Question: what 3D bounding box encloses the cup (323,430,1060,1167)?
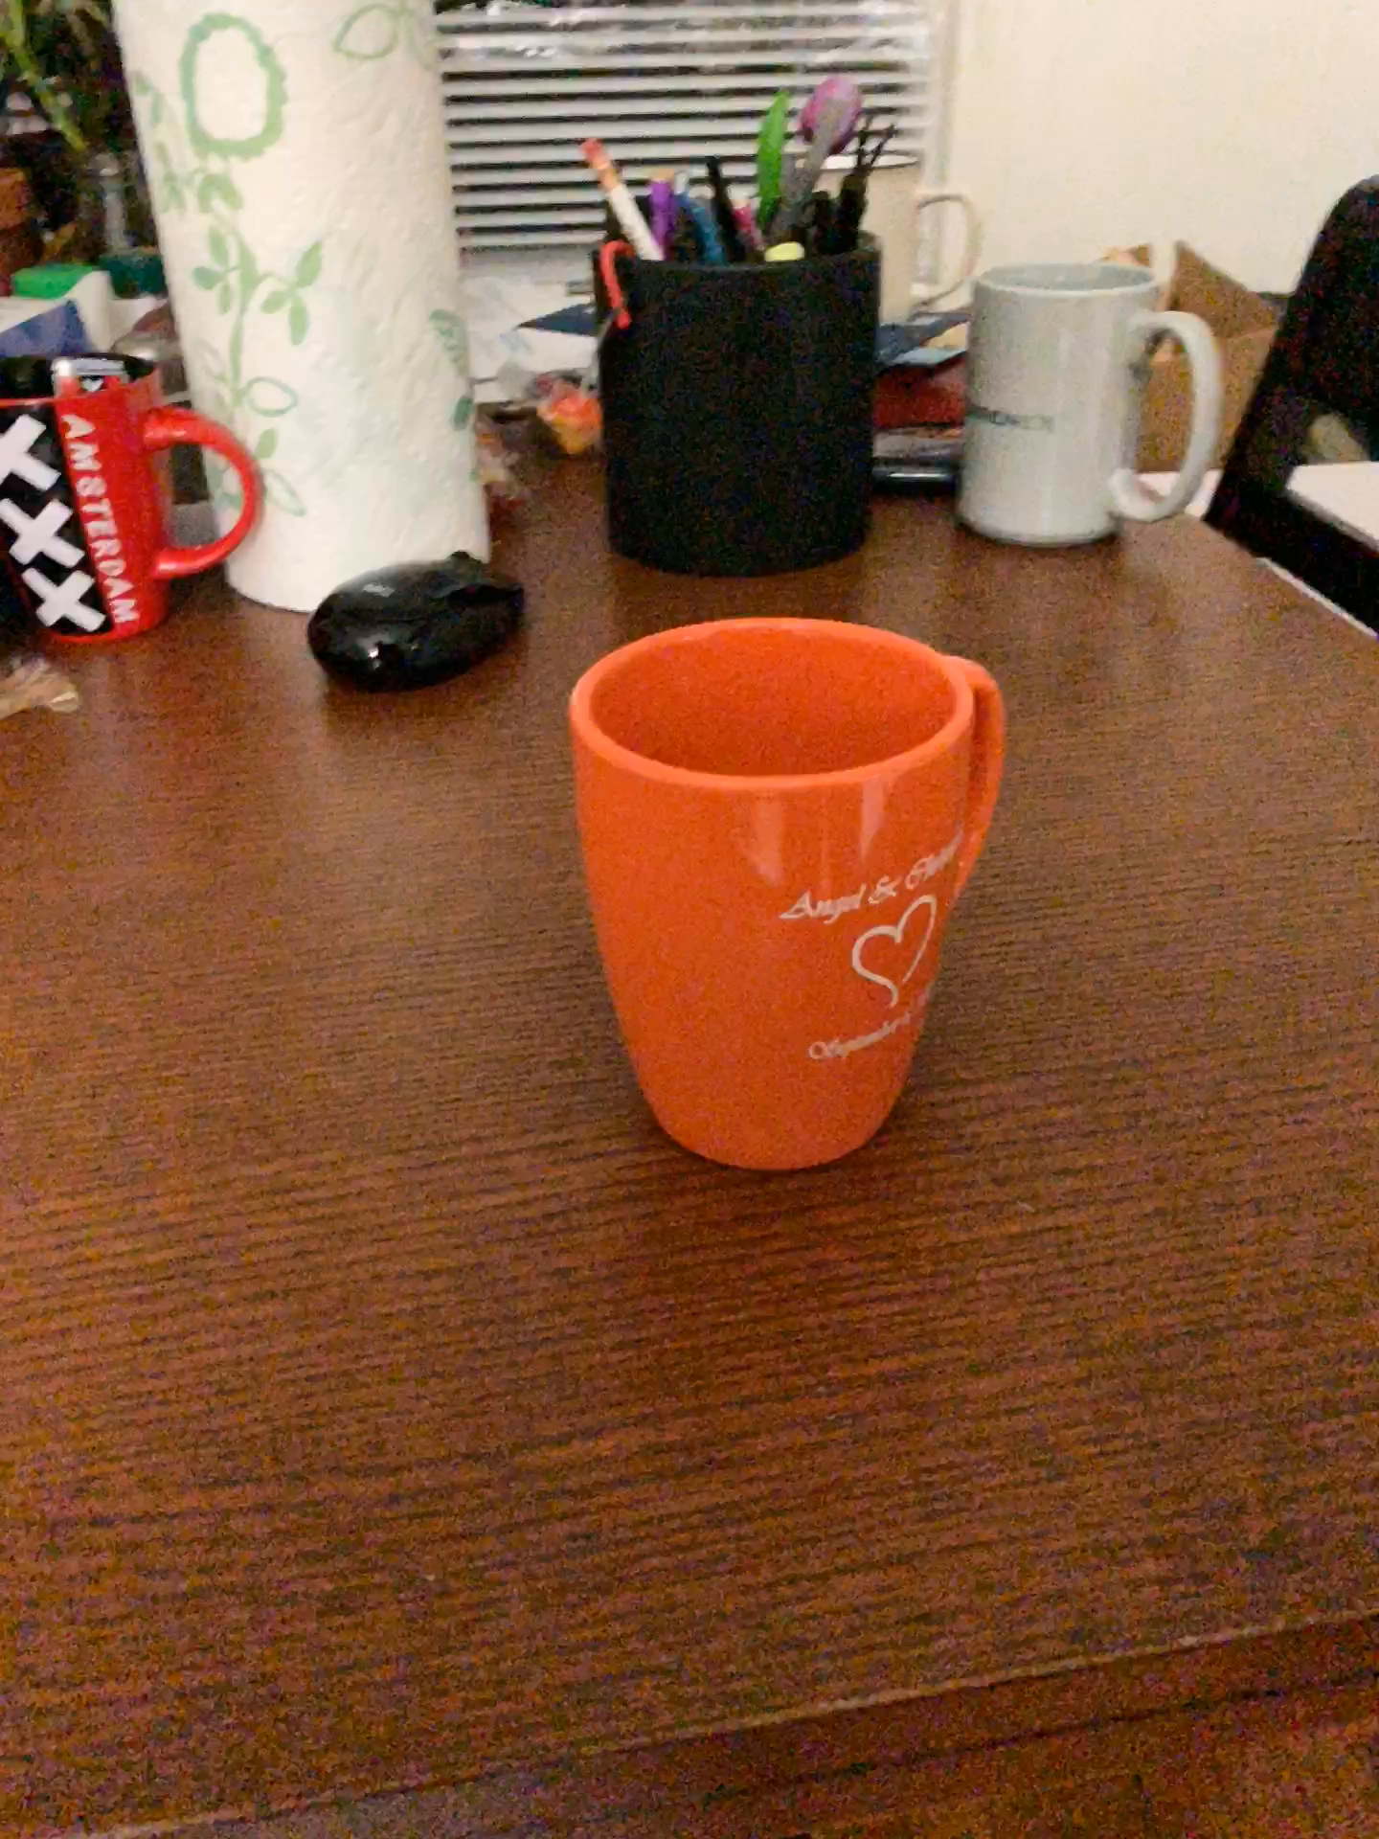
[{"bbox_3d":[0.005,-0.039,0.338,0.100,0.109,0.130,24,41,34],"label":"cup"}]
